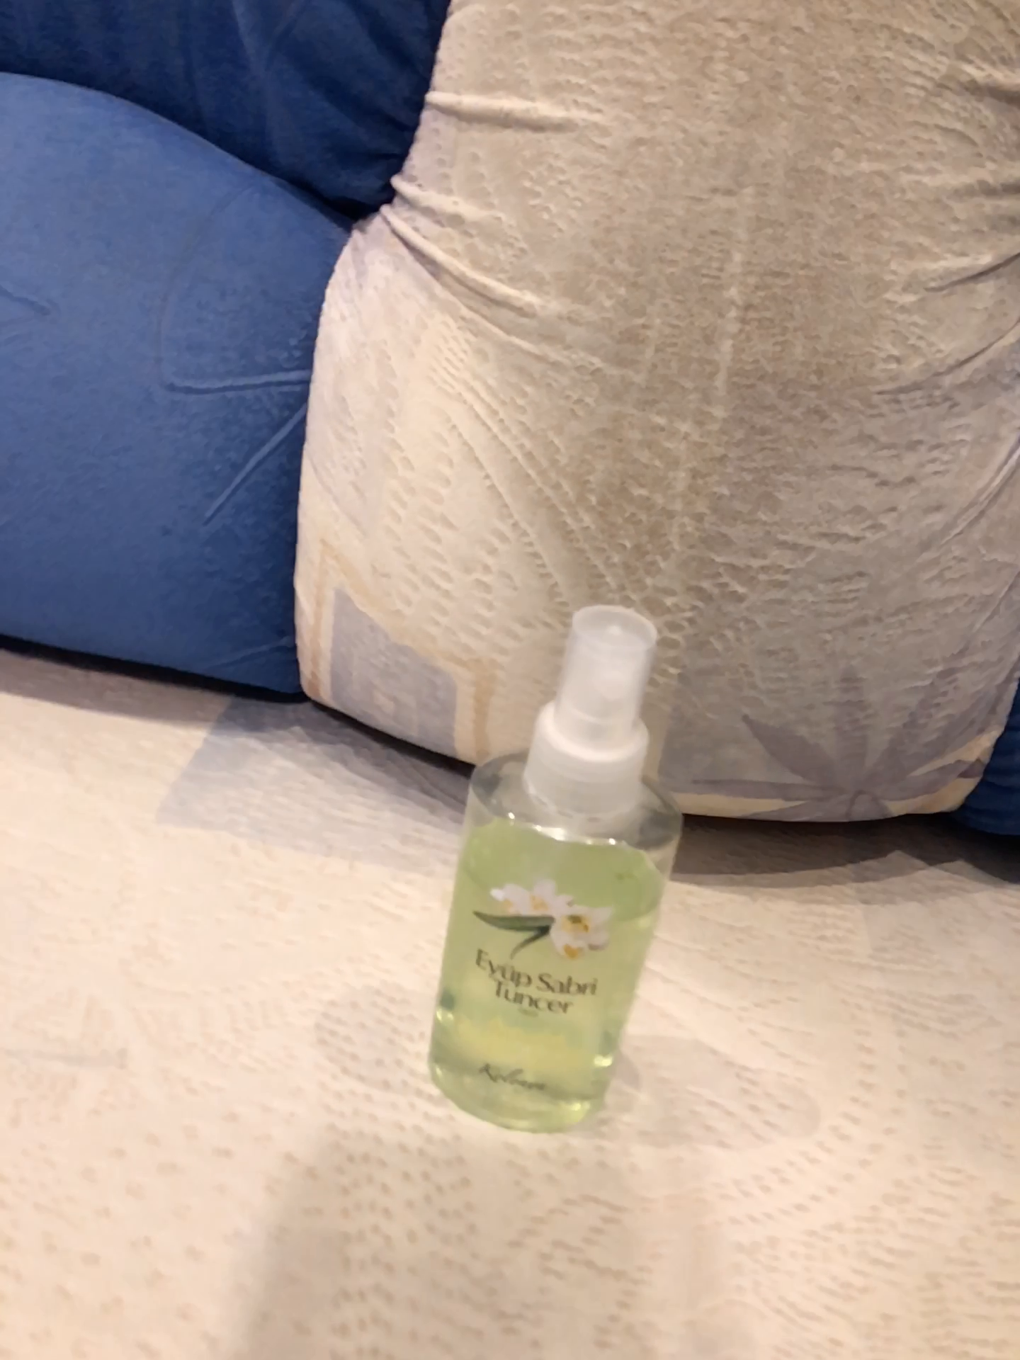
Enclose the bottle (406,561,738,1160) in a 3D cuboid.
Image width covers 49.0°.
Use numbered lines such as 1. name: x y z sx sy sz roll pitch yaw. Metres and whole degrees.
1. bottle: 0.011 0.050 0.278 0.058 0.149 0.037 10 31 5
